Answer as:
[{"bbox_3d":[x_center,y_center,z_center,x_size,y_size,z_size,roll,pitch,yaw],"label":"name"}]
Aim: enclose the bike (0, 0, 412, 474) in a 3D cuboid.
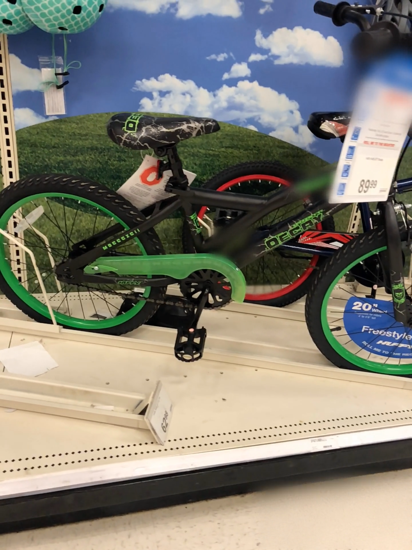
[{"bbox_3d":[0.118,-0.185,1.079,1.360,0.879,0.631,6,24,4],"label":"bike"}]
